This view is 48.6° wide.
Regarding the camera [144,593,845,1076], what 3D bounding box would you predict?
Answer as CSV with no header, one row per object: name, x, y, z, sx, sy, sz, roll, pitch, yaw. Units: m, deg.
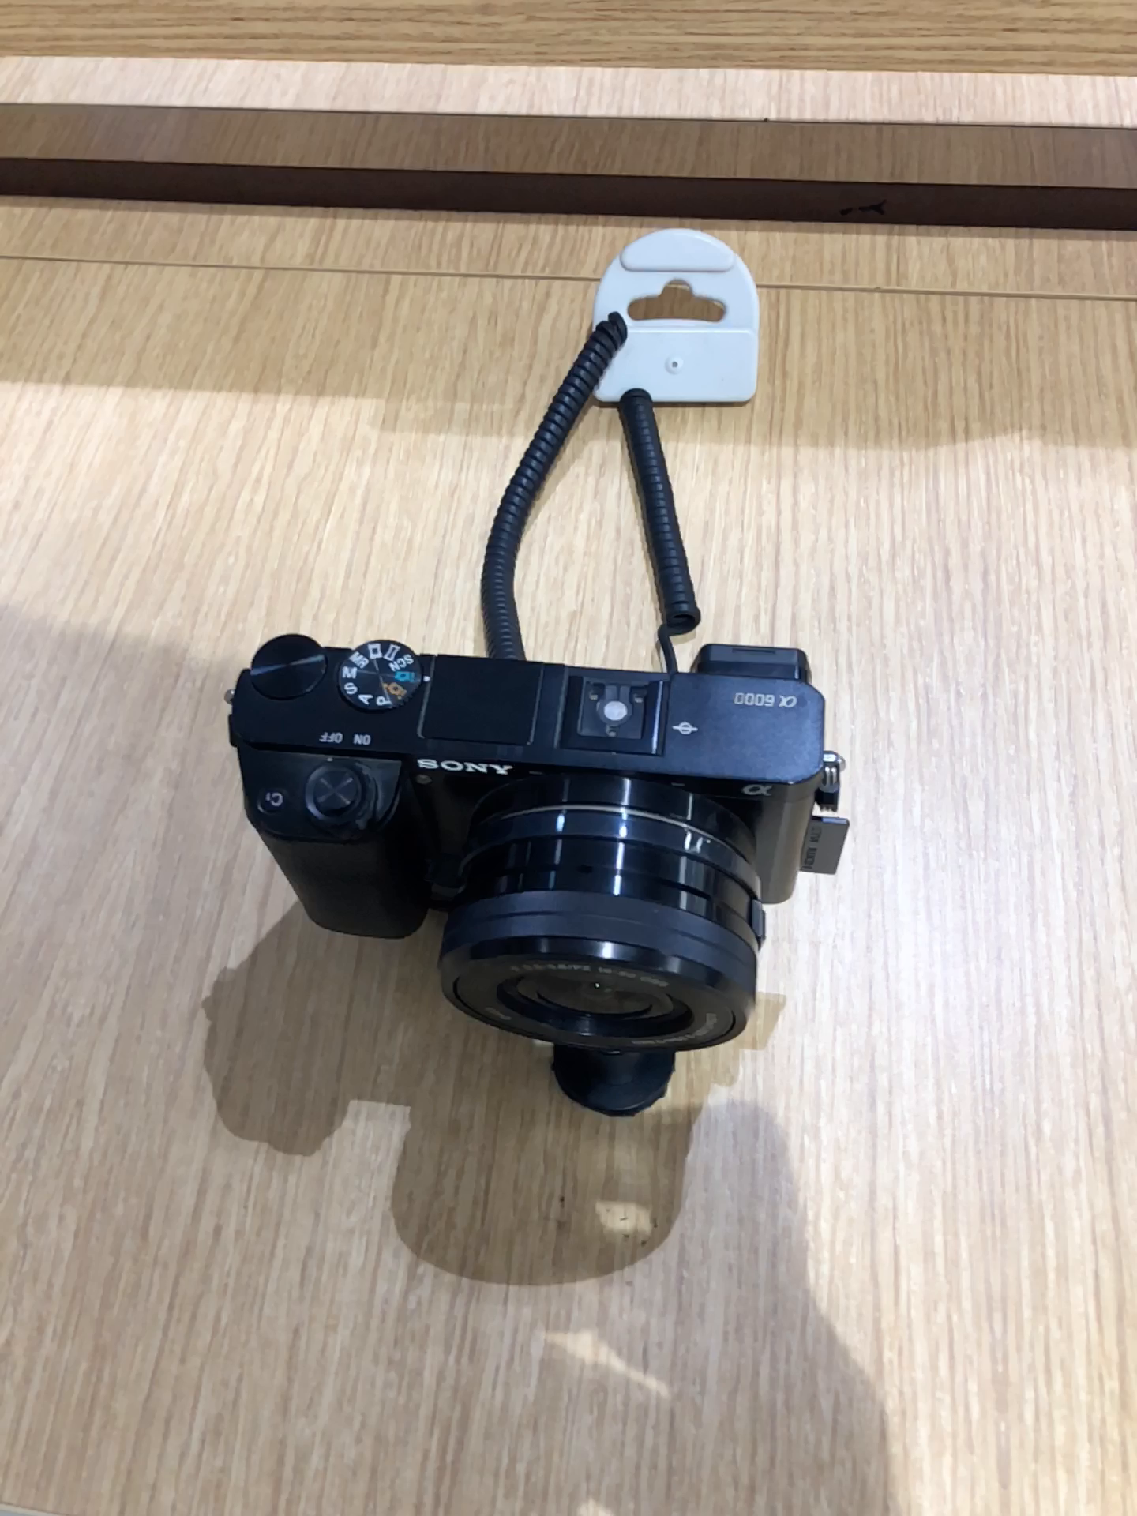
camera,-0.008,0.016,0.235,0.107,0.070,0.059,3,60,5
